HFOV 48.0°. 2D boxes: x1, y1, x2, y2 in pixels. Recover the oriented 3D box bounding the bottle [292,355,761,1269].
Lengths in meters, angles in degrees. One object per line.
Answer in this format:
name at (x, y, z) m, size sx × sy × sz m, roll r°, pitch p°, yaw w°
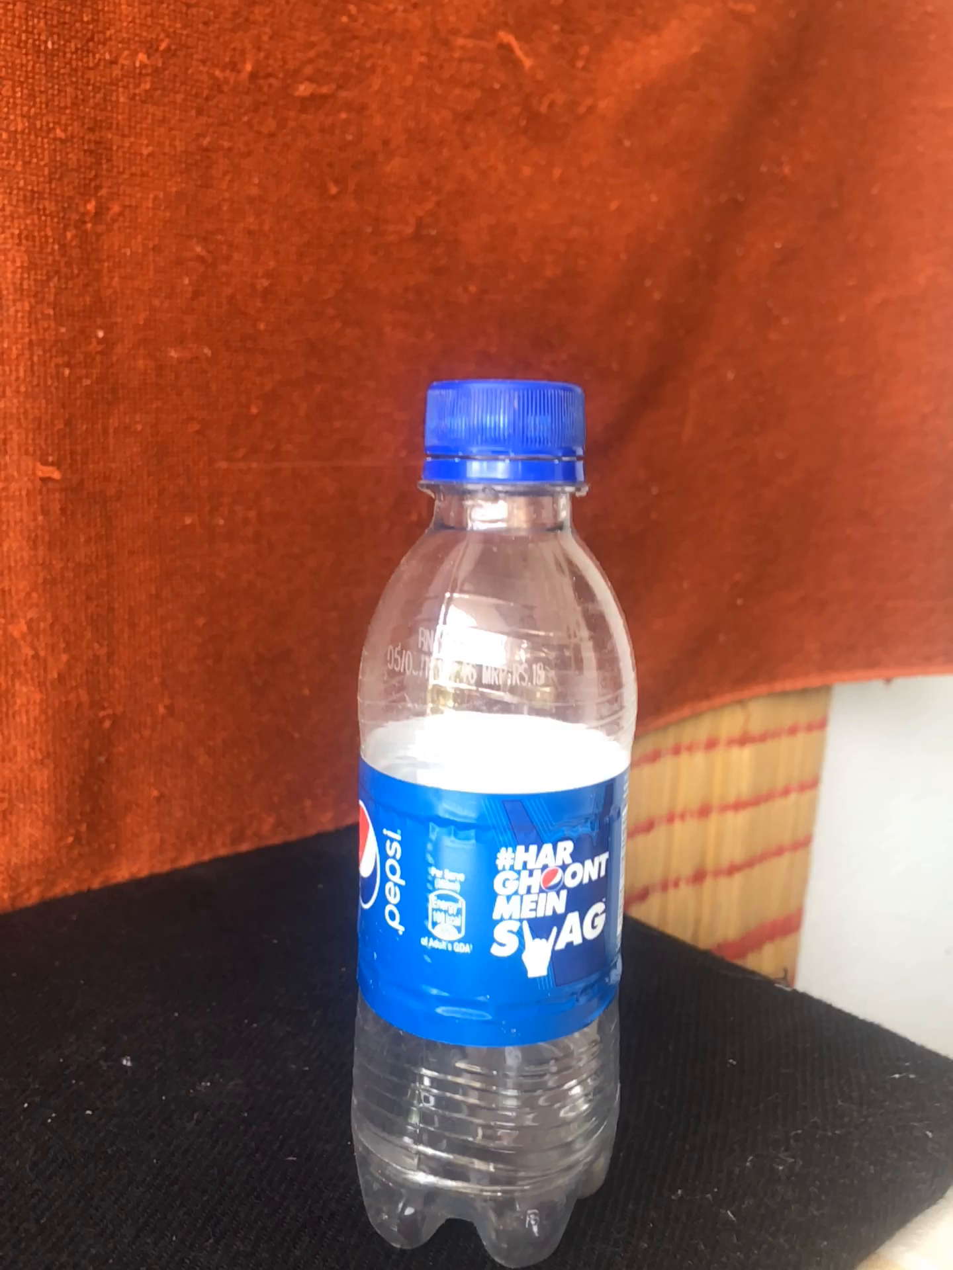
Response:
bottle at (0.003, 0.038, 0.202) m, size 0.060 × 0.170 × 0.050 m, roll 2°, pitch 11°, yaw -17°
